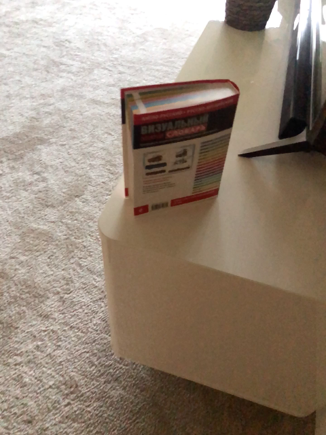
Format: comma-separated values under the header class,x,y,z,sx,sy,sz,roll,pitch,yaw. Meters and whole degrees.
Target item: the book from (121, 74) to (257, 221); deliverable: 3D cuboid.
class,x,y,z,sx,sy,sz,roll,pitch,yaw
book,0.024,-0.089,0.492,0.150,0.179,0.060,-12,52,-15
